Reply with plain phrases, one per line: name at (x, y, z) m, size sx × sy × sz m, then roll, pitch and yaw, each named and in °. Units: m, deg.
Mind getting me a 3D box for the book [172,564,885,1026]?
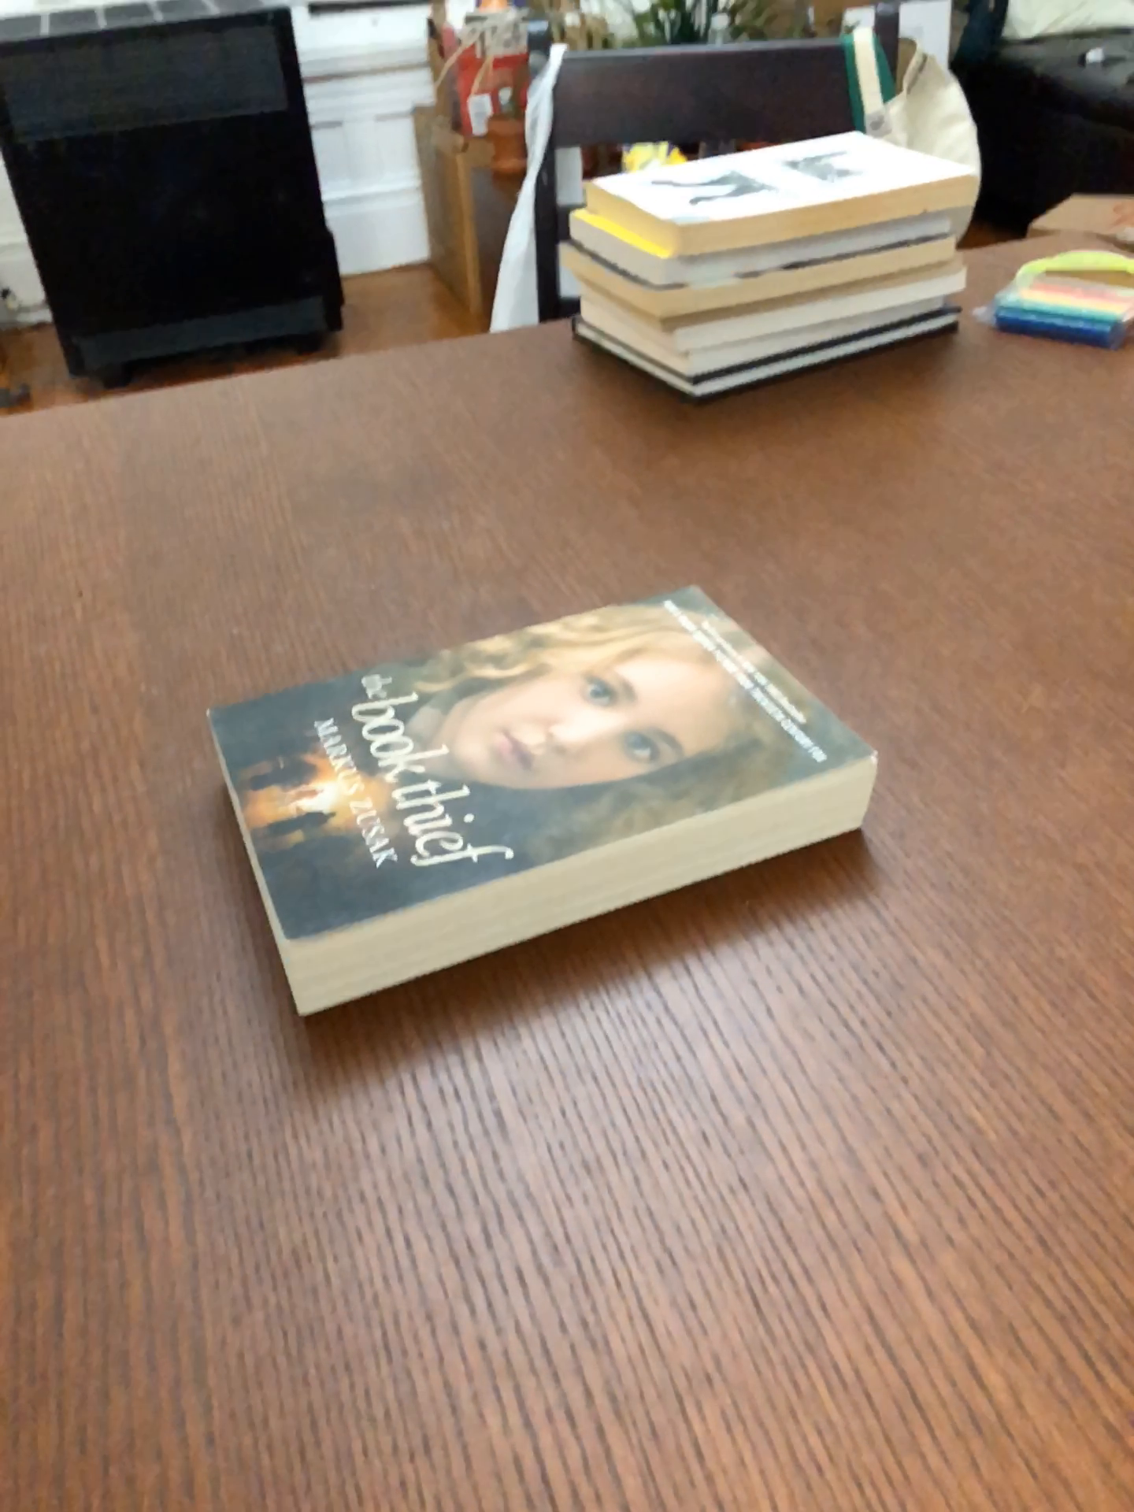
book at (-0.021, 0.000, 0.462) m, size 0.220 × 0.030 × 0.151 m, roll -16°, pitch 39°, yaw -15°
